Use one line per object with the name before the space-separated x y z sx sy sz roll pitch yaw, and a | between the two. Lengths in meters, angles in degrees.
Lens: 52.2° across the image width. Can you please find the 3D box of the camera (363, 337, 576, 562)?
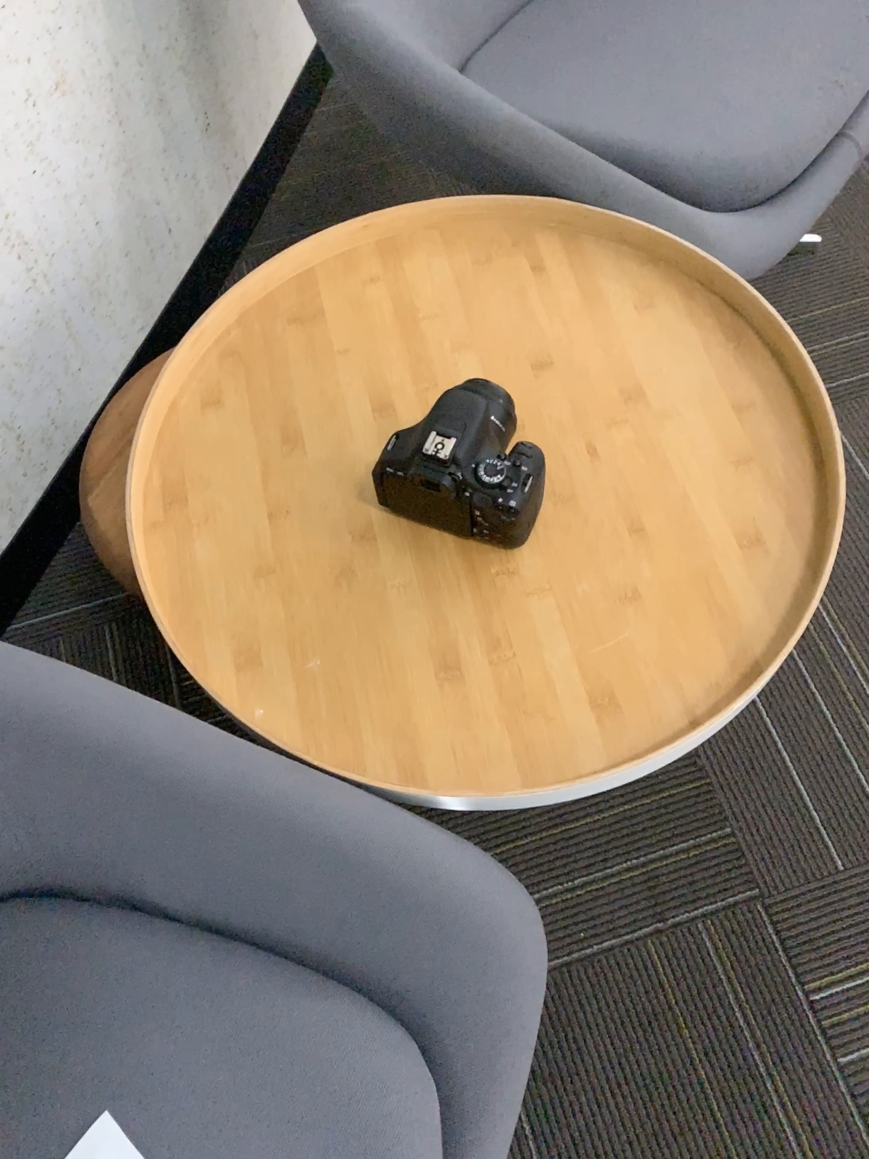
camera | 0.030 -0.107 0.736 0.133 0.100 0.117 19 65 12
